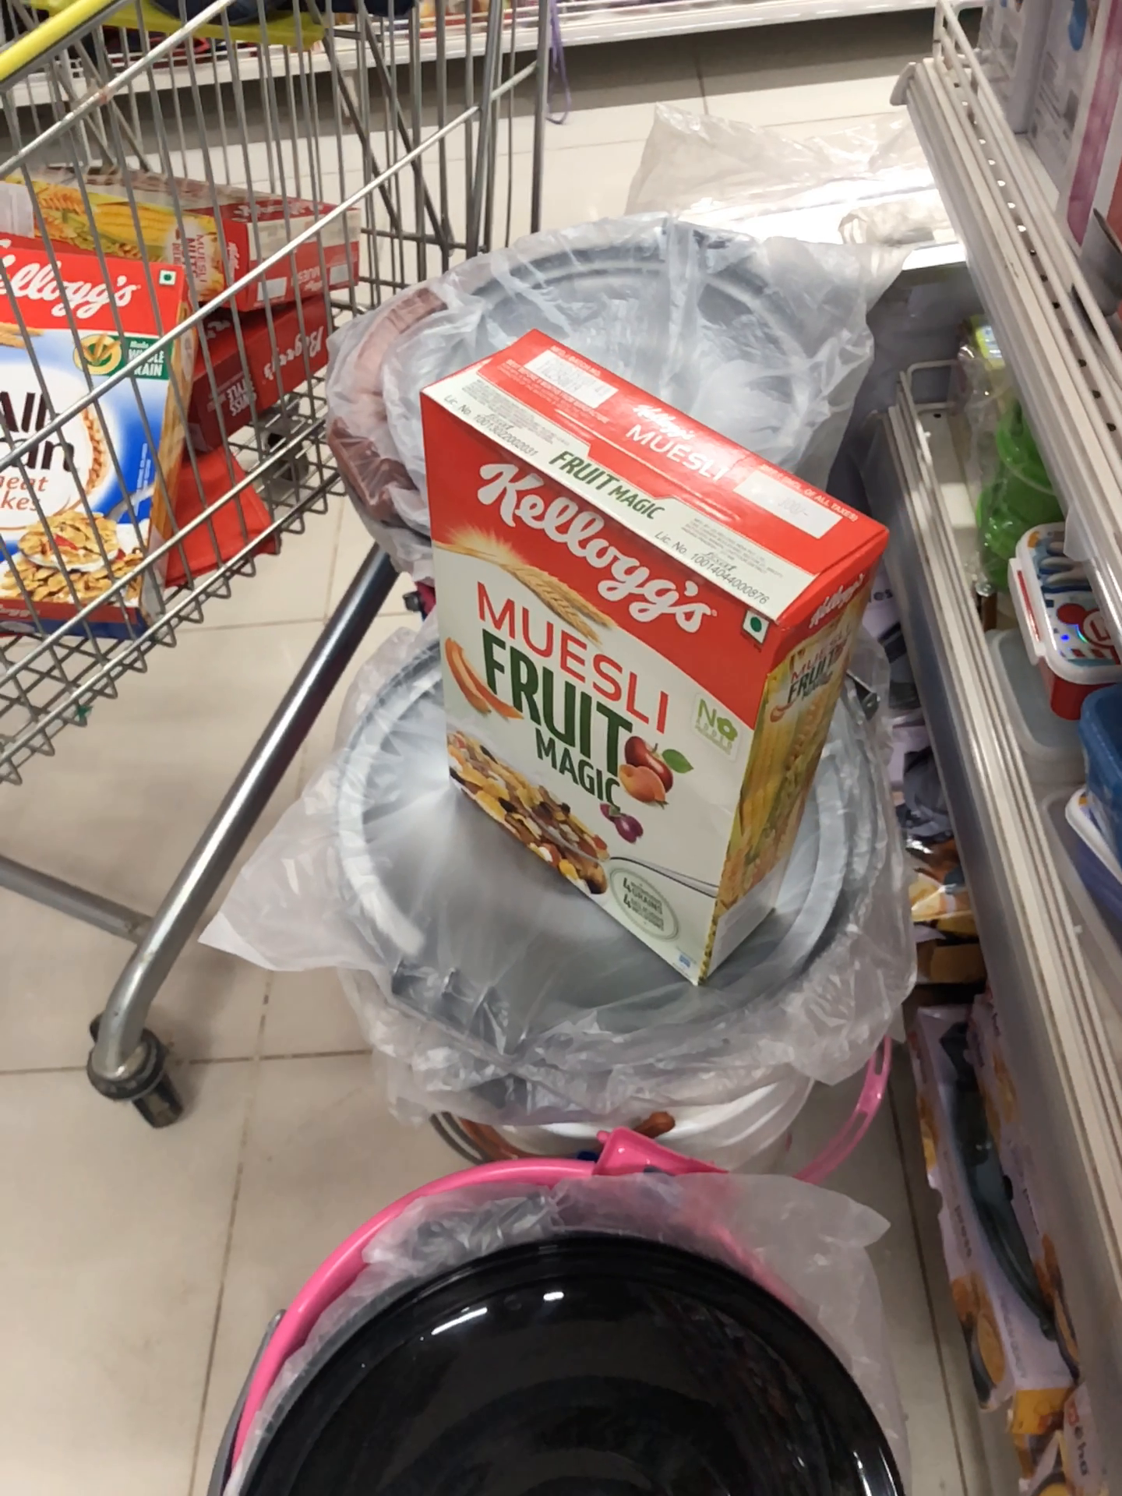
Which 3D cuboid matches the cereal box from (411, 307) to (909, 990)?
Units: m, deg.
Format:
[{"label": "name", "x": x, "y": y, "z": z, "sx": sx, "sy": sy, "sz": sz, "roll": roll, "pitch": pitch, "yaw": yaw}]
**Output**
[{"label": "cereal box", "x": 0.029, "y": -0.035, "z": 0.563, "sx": 0.070, "sy": 0.249, "sz": 0.190, "roll": -36, "pitch": 59, "yaw": -28}]
